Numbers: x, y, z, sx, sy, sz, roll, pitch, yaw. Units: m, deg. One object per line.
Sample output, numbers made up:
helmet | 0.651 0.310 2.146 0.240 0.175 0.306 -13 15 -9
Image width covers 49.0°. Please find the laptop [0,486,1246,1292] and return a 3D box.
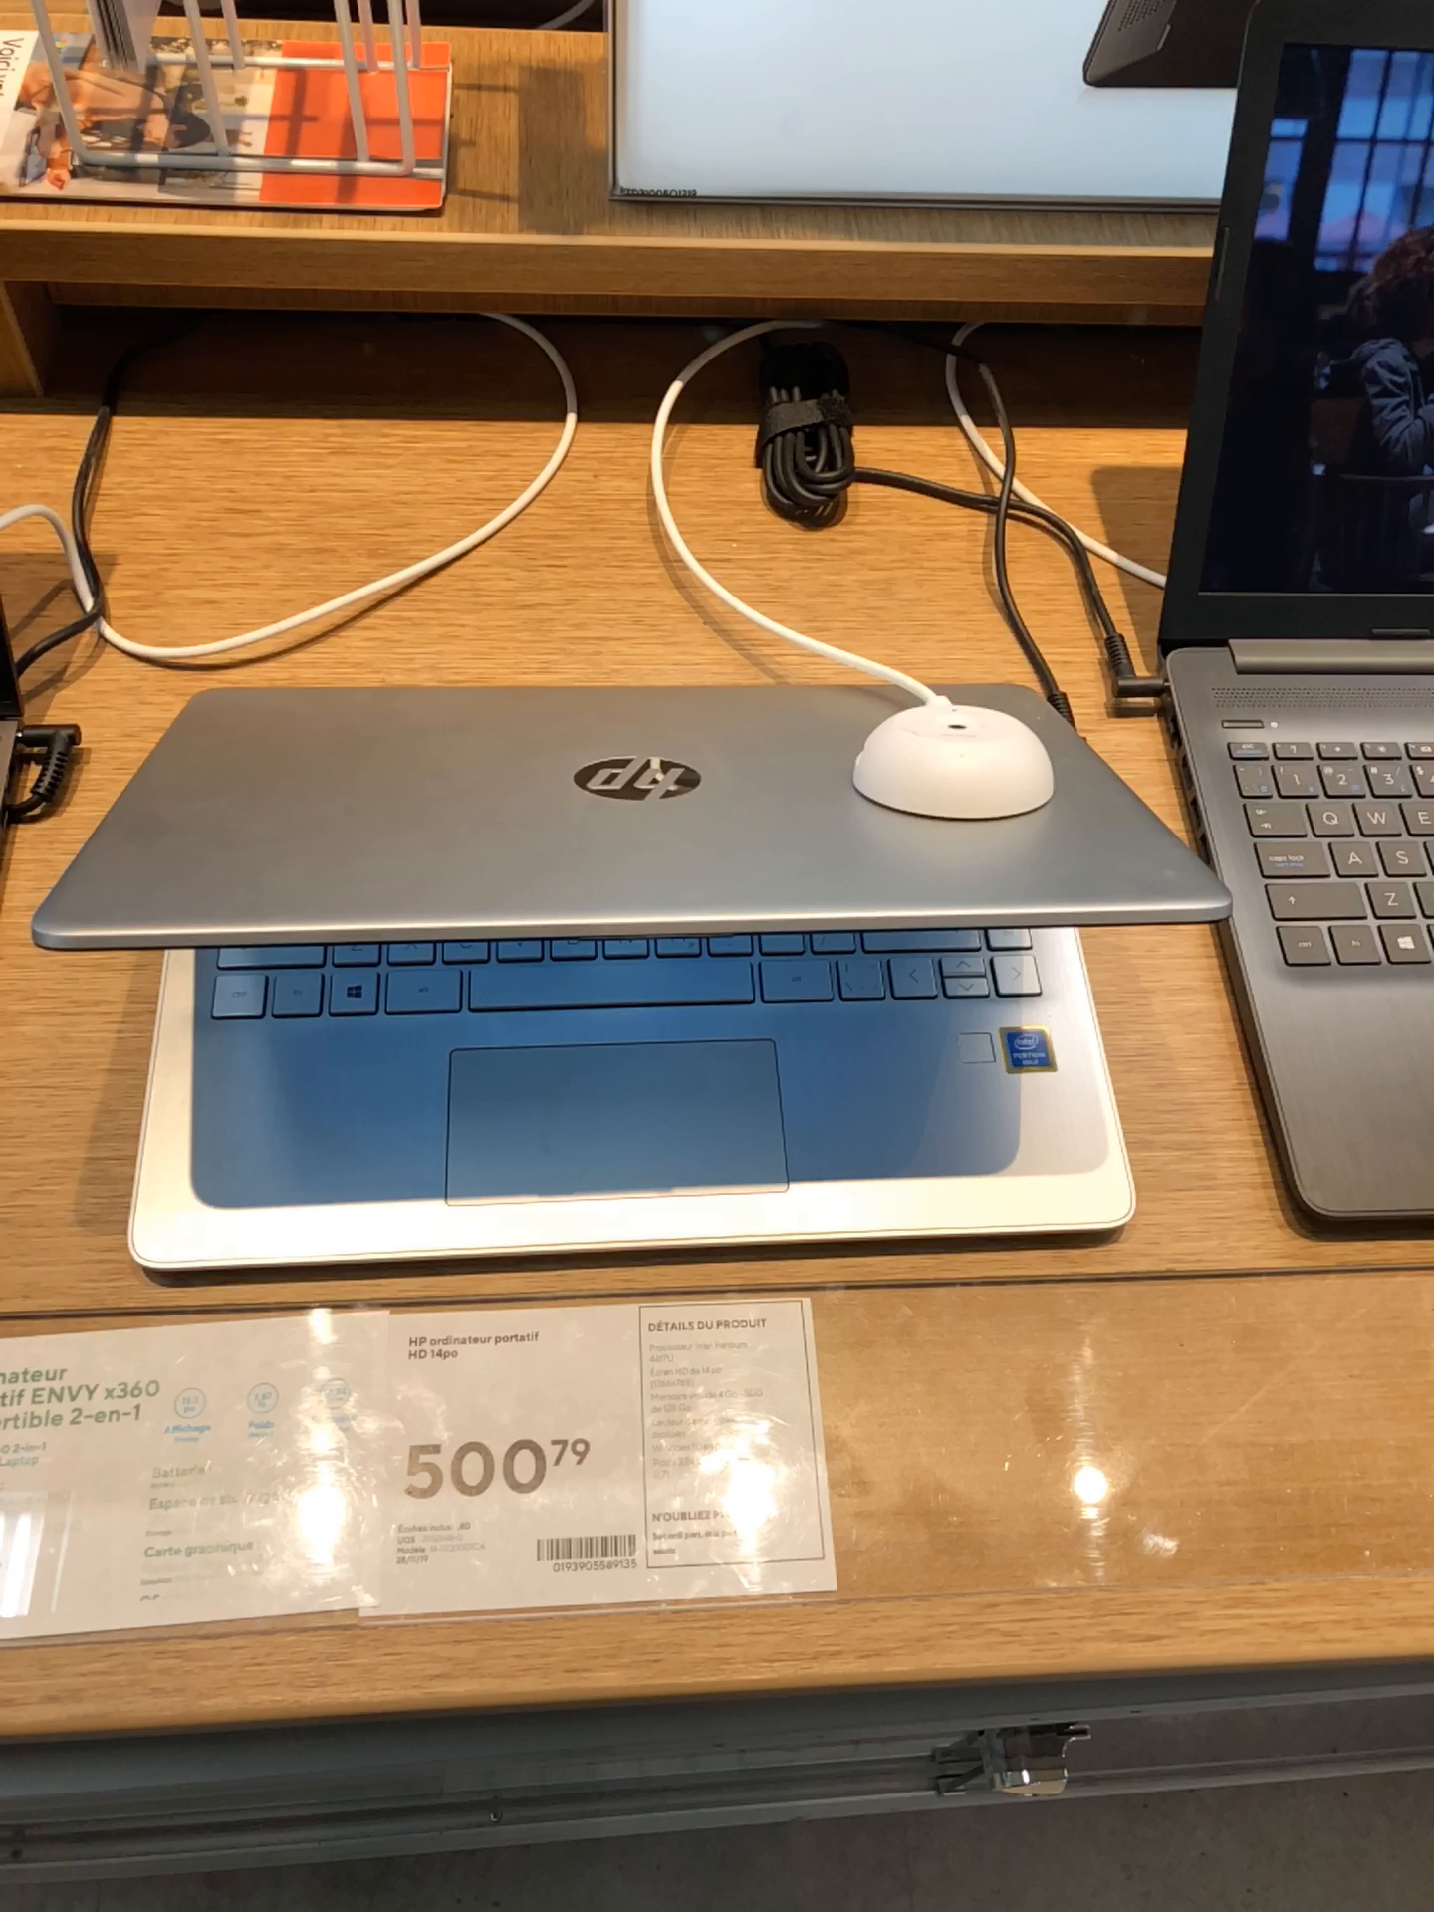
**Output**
laptop | -0.030 -0.025 0.495 0.314 0.110 0.217 -1 61 -5
